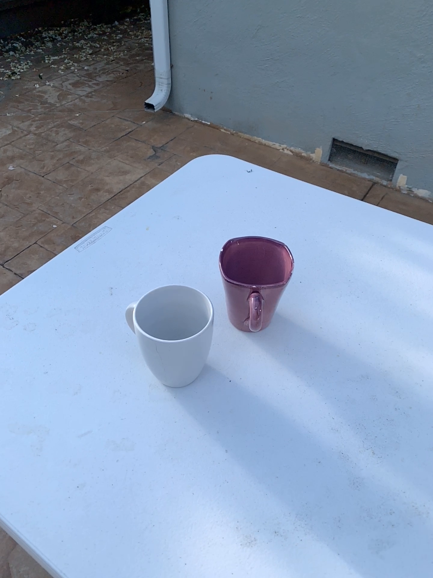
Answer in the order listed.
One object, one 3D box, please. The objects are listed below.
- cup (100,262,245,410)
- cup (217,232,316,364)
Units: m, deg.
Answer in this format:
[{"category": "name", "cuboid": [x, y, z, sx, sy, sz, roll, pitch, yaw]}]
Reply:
[{"category": "cup", "cuboid": [-0.055, 0.056, 0.566, 0.150, 0.099, 0.090, 27, 50, 24]}, {"category": "cup", "cuboid": [0.058, 0.010, 0.599, 0.110, 0.109, 0.141, 1, 44, -1]}]
